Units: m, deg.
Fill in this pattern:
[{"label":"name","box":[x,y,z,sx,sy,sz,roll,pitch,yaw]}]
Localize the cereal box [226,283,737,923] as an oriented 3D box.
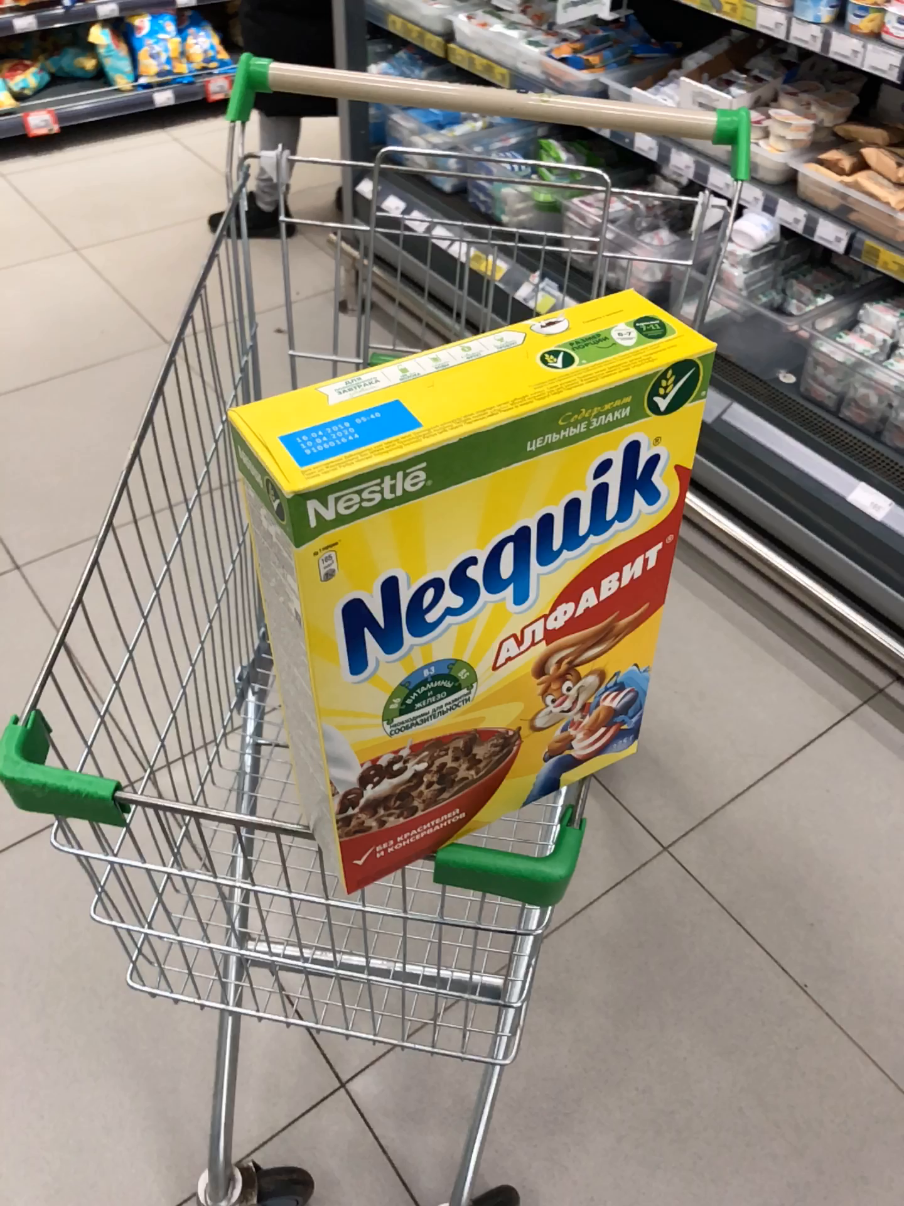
[{"label":"cereal box","box":[0.014,0.014,0.489,0.200,0.288,0.060,-23,49,-23]}]
